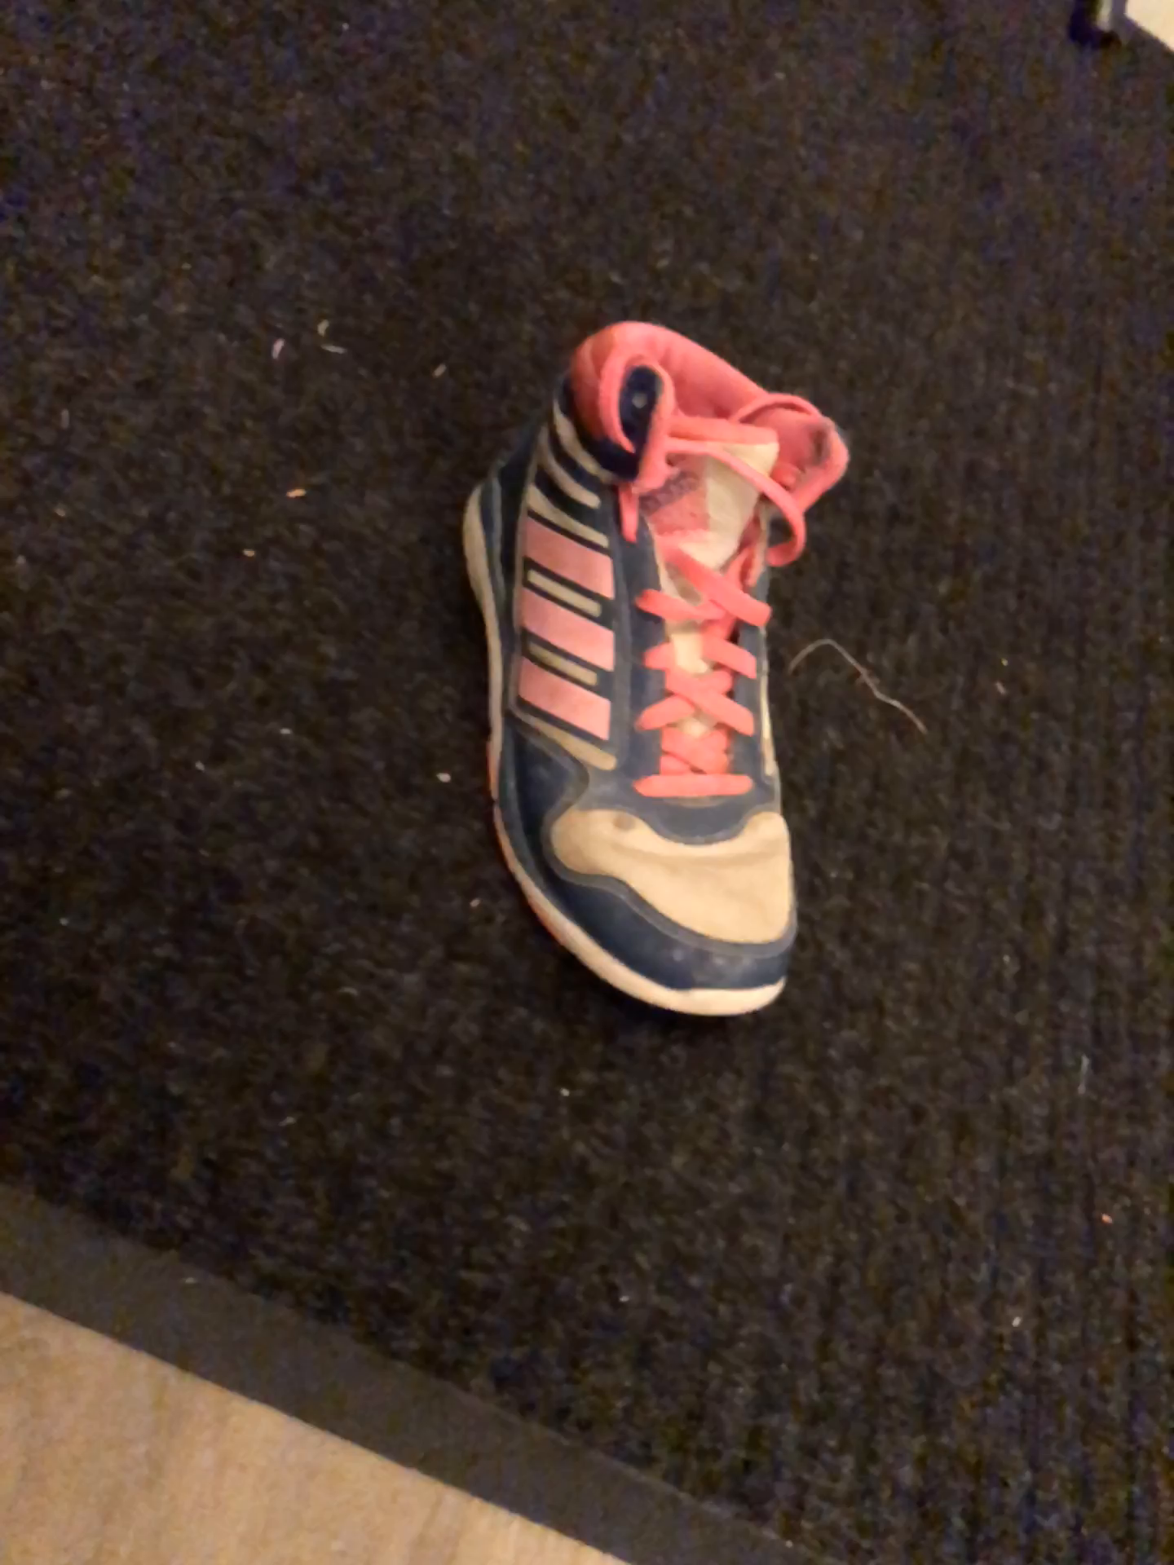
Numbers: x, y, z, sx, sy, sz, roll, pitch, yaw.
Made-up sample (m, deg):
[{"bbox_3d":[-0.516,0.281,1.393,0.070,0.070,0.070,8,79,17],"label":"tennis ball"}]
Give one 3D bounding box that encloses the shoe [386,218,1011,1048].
[{"bbox_3d":[0.017,-0.042,0.371,0.090,0.100,0.200,1,59,-28],"label":"shoe"}]
